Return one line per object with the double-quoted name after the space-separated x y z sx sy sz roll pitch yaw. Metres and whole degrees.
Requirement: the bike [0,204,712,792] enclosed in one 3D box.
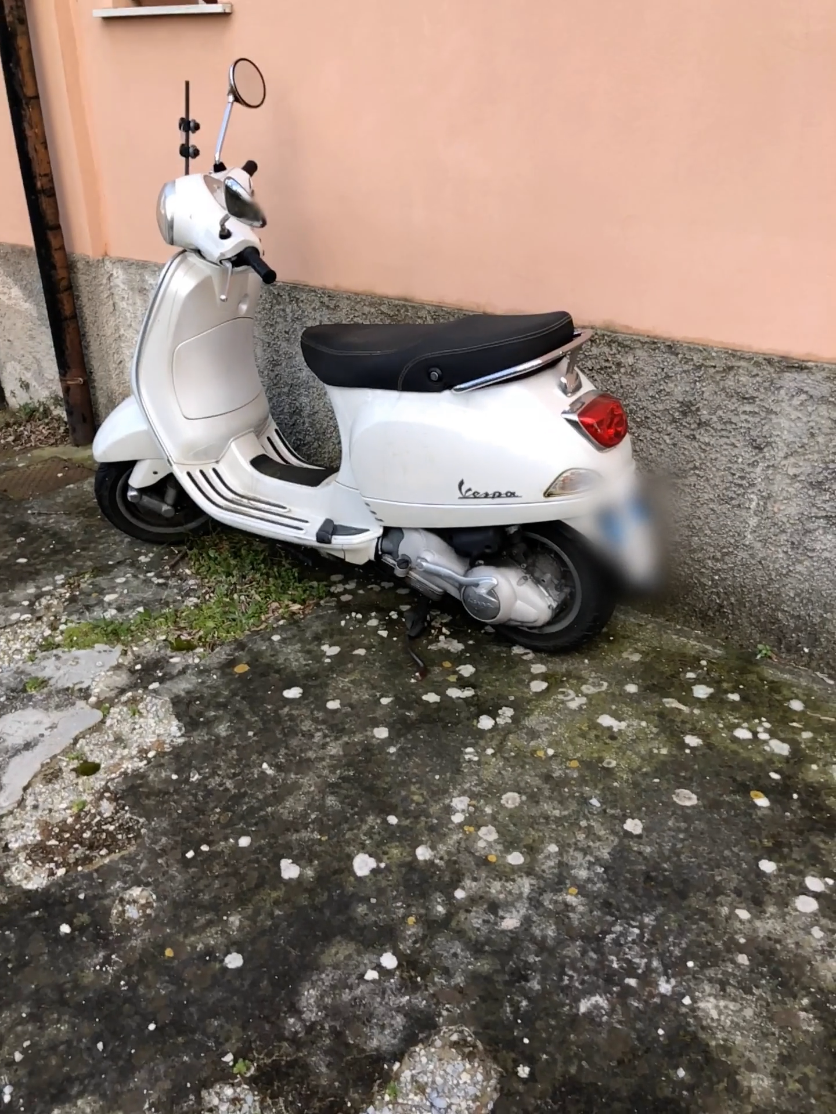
-0.327 -0.245 2.238 1.658 1.085 0.647 11 28 26 "bike"
